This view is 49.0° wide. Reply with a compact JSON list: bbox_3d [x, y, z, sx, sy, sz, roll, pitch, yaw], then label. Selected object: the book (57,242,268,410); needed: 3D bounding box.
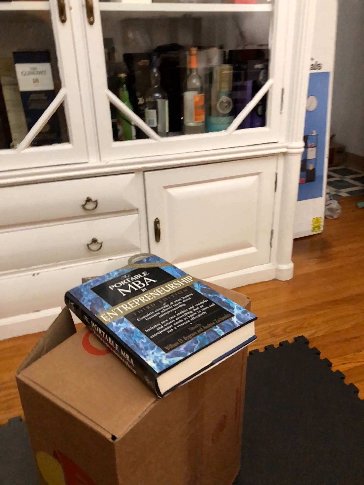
[{"bbox_3d":[-0.039,0.105,0.641,0.211,0.060,0.271,-21,34,-35],"label":"book"}]
